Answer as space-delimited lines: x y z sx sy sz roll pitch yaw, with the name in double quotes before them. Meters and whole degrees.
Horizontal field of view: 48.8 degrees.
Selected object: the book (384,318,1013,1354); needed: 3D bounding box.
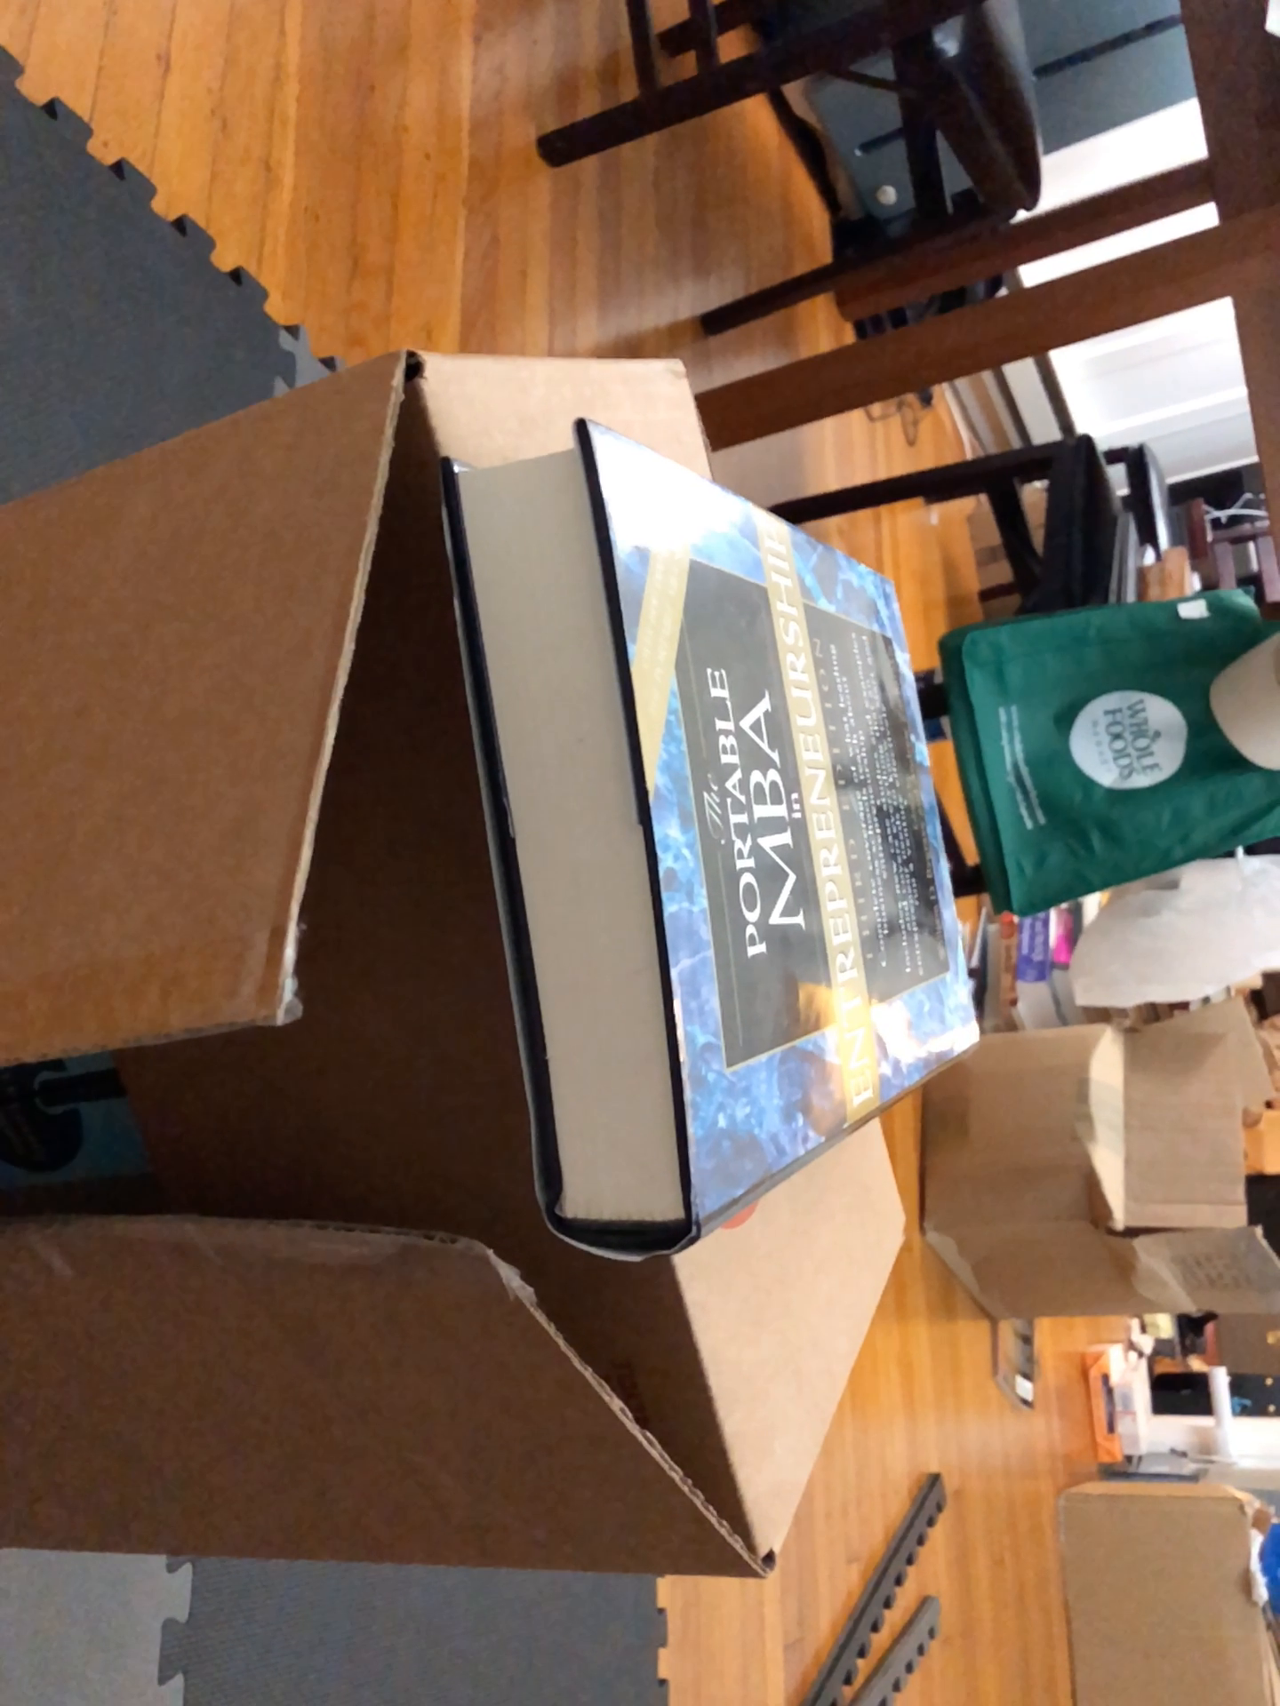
"book" 0.042 -0.006 0.420 0.271 0.060 0.210 -6 86 -66
